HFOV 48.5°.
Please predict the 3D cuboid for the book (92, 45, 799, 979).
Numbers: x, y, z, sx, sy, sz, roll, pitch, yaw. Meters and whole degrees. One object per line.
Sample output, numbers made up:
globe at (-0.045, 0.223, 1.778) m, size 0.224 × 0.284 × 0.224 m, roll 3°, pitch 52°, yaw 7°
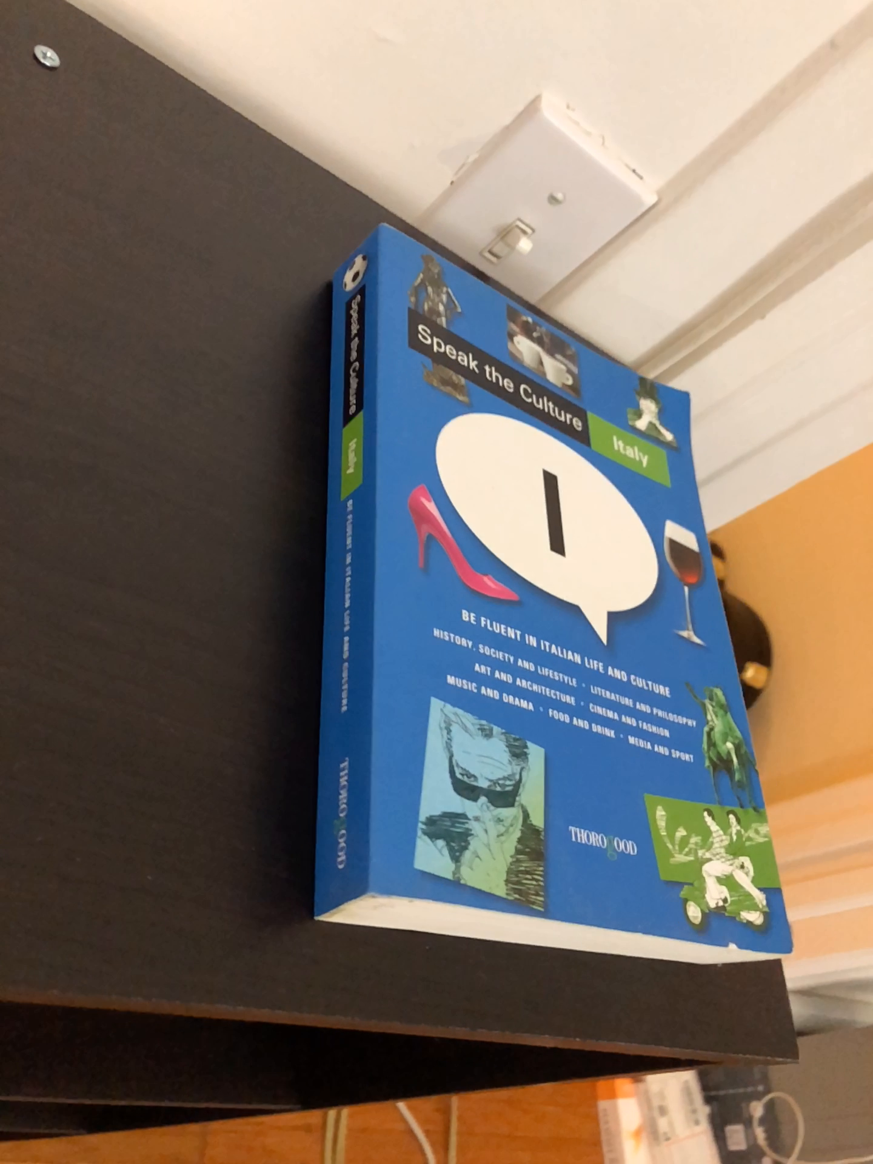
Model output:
book at (0.014, -0.022, 0.305) m, size 0.201 × 0.030 × 0.261 m, roll 20°, pitch 53°, yaw -33°
